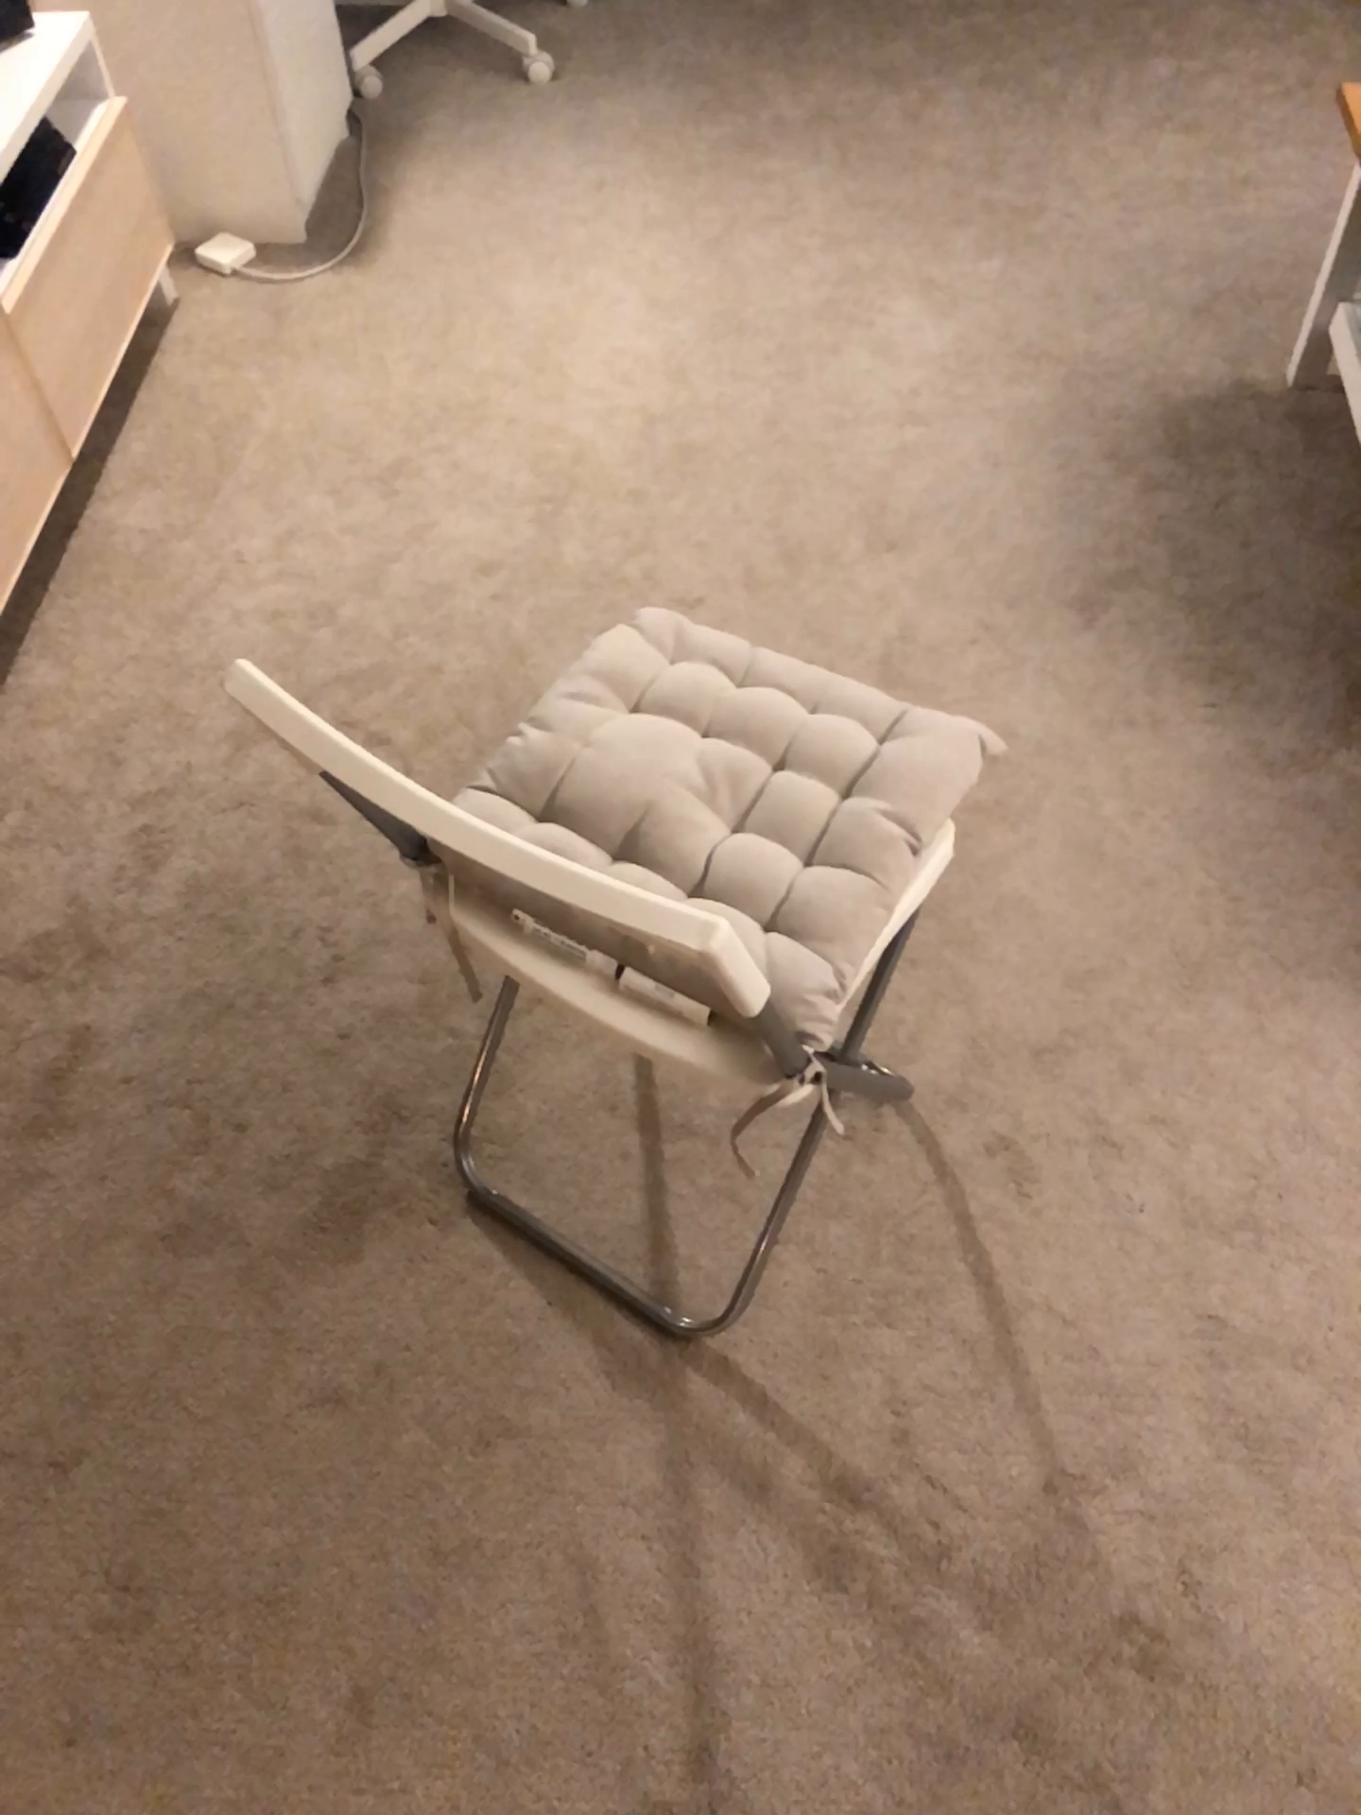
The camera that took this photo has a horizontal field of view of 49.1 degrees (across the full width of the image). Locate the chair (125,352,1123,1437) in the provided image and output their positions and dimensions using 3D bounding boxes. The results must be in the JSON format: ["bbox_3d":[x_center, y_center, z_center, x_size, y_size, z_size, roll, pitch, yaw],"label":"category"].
[{"bbox_3d":[-0.017,0.004,1.355,0.510,0.667,0.542,28,59,21],"label":"chair"}]
